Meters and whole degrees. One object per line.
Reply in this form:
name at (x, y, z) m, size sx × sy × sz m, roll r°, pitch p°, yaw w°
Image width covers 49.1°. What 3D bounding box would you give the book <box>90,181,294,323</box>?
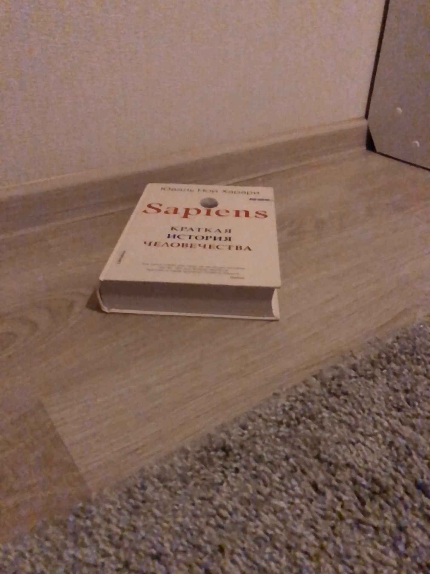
book at (-0.015, -0.056, 0.548) m, size 0.186 × 0.040 × 0.260 m, roll 2°, pitch 33°, yaw 2°
